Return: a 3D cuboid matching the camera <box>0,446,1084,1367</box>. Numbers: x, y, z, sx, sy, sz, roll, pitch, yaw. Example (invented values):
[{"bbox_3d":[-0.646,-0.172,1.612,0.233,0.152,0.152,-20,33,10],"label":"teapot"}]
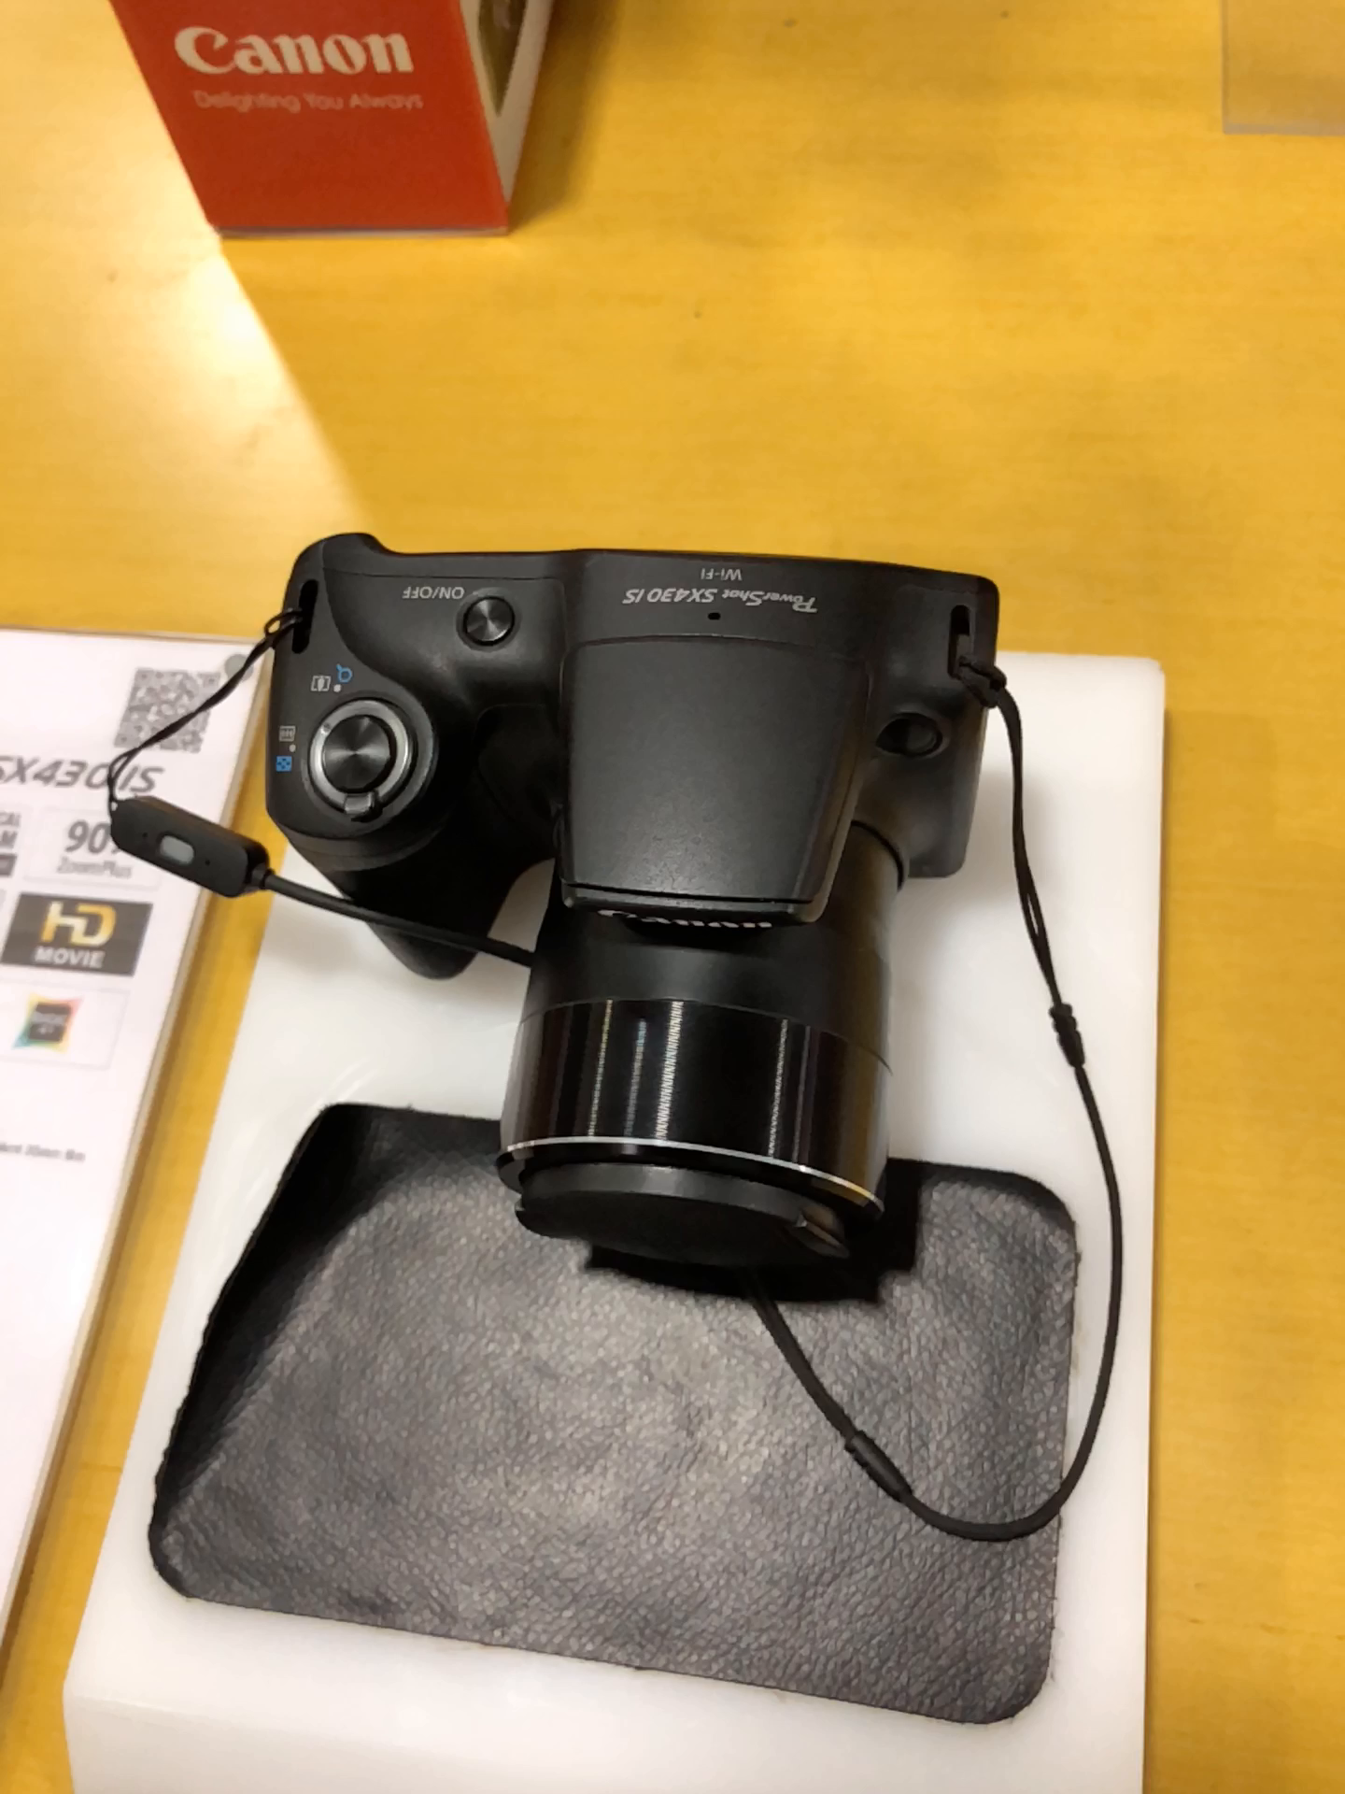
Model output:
[{"bbox_3d":[-0.007,0.006,0.206,0.110,0.090,0.090,4,67,9],"label":"camera"}]
